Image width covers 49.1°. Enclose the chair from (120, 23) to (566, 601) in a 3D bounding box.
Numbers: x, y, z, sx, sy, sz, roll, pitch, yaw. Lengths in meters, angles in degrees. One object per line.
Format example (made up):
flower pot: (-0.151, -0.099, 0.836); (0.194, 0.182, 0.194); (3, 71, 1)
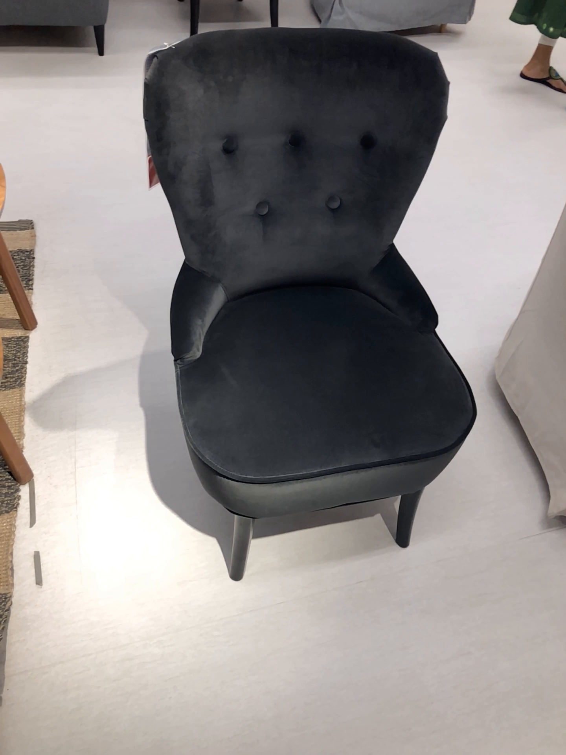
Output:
chair: (0.055, -0.132, 1.263); (0.600, 0.776, 0.794); (-8, 54, -14)
